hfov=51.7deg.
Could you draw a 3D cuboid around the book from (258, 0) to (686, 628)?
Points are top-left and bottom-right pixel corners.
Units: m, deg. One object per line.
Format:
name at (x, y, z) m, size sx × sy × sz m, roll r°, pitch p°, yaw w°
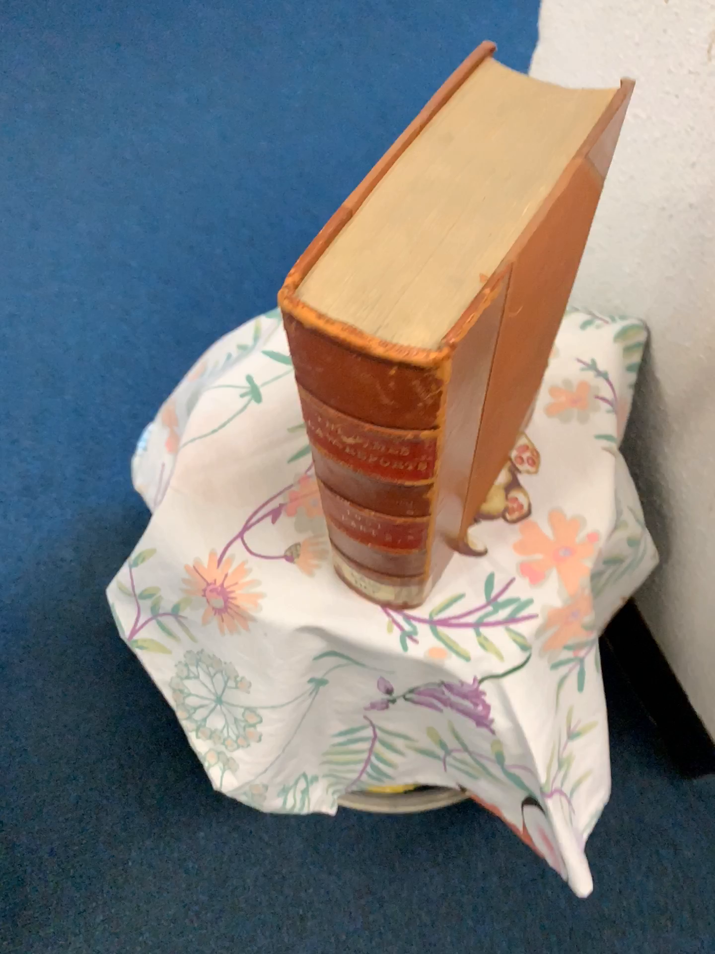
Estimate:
book at (0.049, -0.059, 0.363) m, size 0.070 × 0.248 × 0.191 m, roll 27°, pitch 66°, yaw 14°
